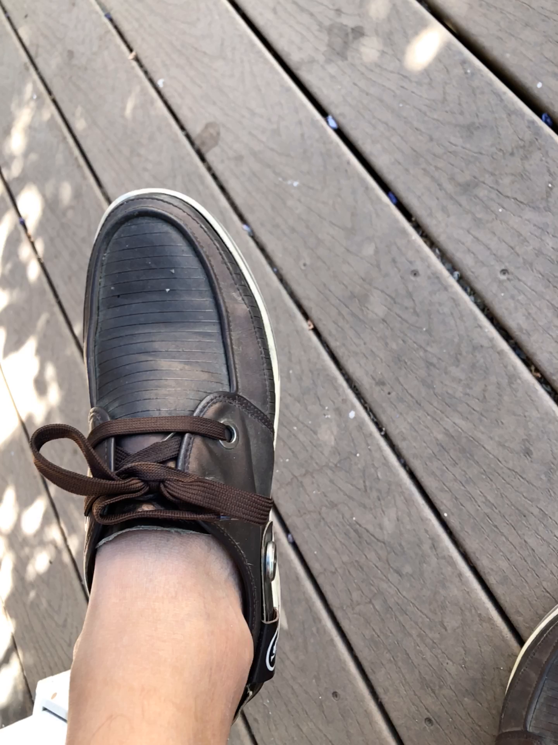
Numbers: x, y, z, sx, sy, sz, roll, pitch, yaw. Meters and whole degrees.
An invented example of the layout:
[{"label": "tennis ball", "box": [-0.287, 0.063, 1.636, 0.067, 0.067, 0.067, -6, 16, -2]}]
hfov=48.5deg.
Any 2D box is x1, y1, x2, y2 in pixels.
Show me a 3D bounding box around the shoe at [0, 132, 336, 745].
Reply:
[{"label": "shoe", "box": [-0.048, 0.047, 0.331, 0.119, 0.104, 0.295, -6, 89, 9]}]
